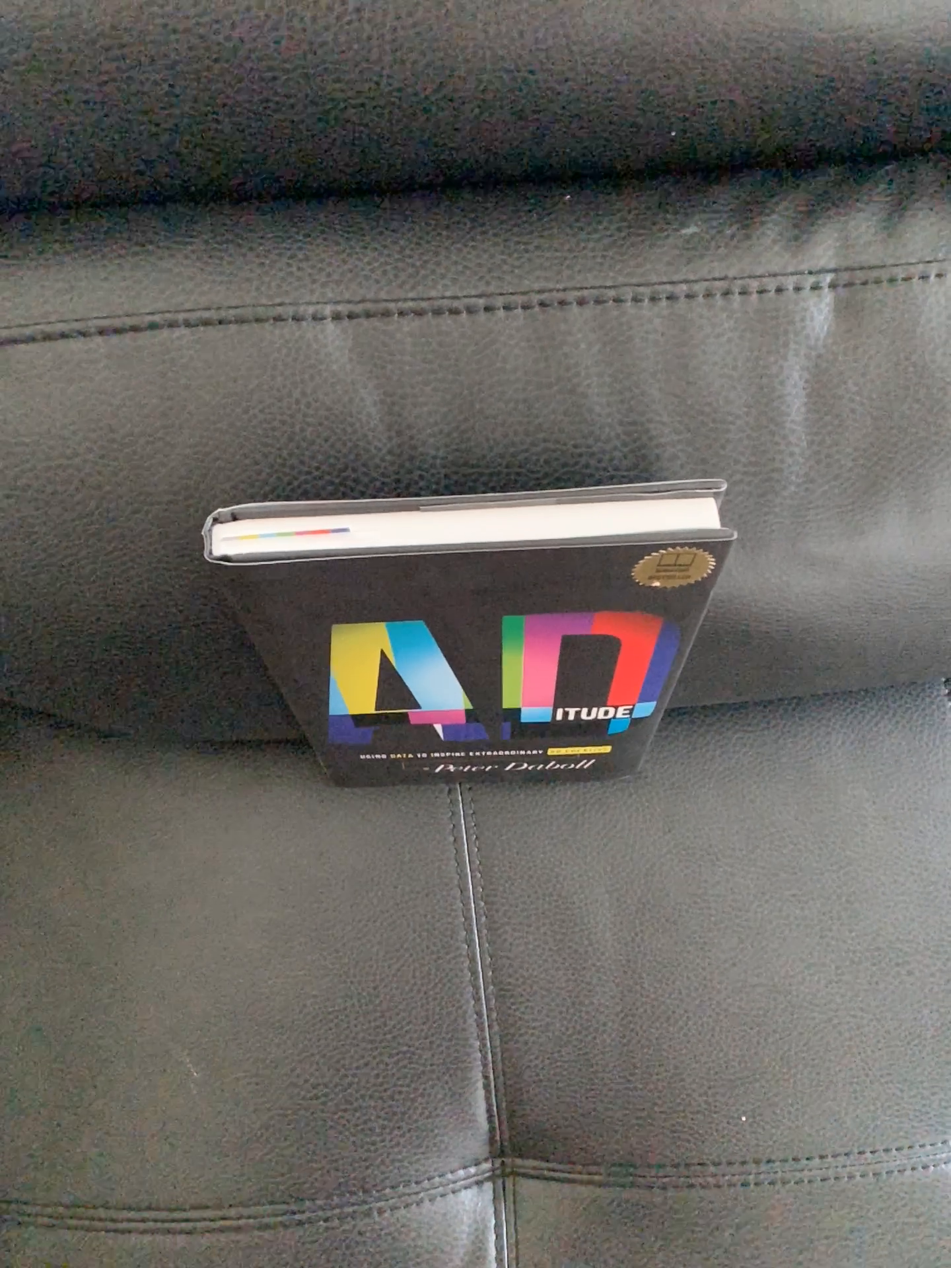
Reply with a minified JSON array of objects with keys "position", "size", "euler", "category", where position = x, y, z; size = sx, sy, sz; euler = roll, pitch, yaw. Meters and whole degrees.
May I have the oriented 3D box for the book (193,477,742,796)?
[{"position":[0.001,0.018,0.397],"size":[0.160,0.236,0.025],"euler":[-2,64,1],"category":"book"}]
